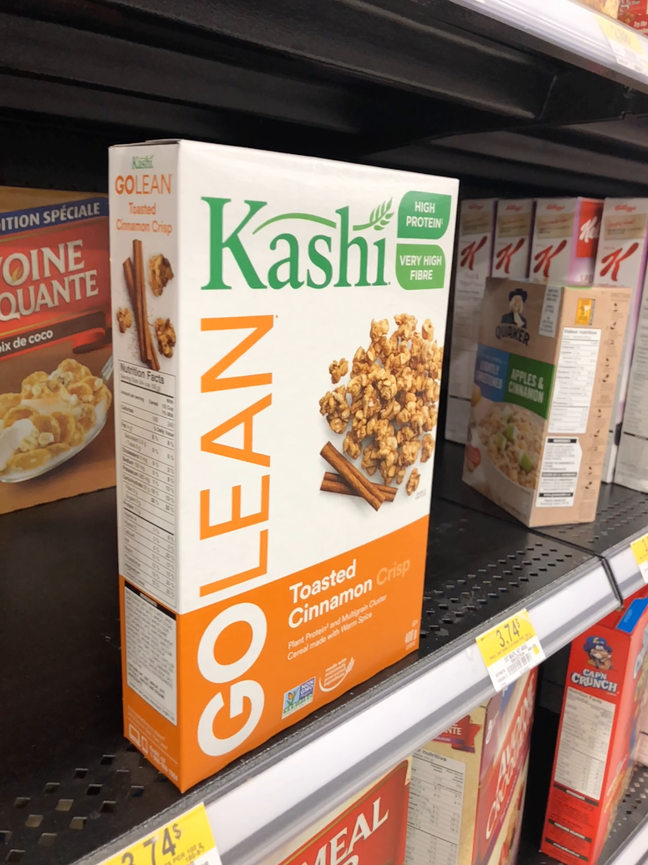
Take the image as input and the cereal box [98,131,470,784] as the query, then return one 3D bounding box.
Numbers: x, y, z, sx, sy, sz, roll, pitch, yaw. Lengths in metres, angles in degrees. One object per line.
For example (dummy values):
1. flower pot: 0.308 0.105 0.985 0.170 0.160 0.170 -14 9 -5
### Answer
1. cereal box: -0.012 0.004 0.339 0.050 0.249 0.170 16 20 42
